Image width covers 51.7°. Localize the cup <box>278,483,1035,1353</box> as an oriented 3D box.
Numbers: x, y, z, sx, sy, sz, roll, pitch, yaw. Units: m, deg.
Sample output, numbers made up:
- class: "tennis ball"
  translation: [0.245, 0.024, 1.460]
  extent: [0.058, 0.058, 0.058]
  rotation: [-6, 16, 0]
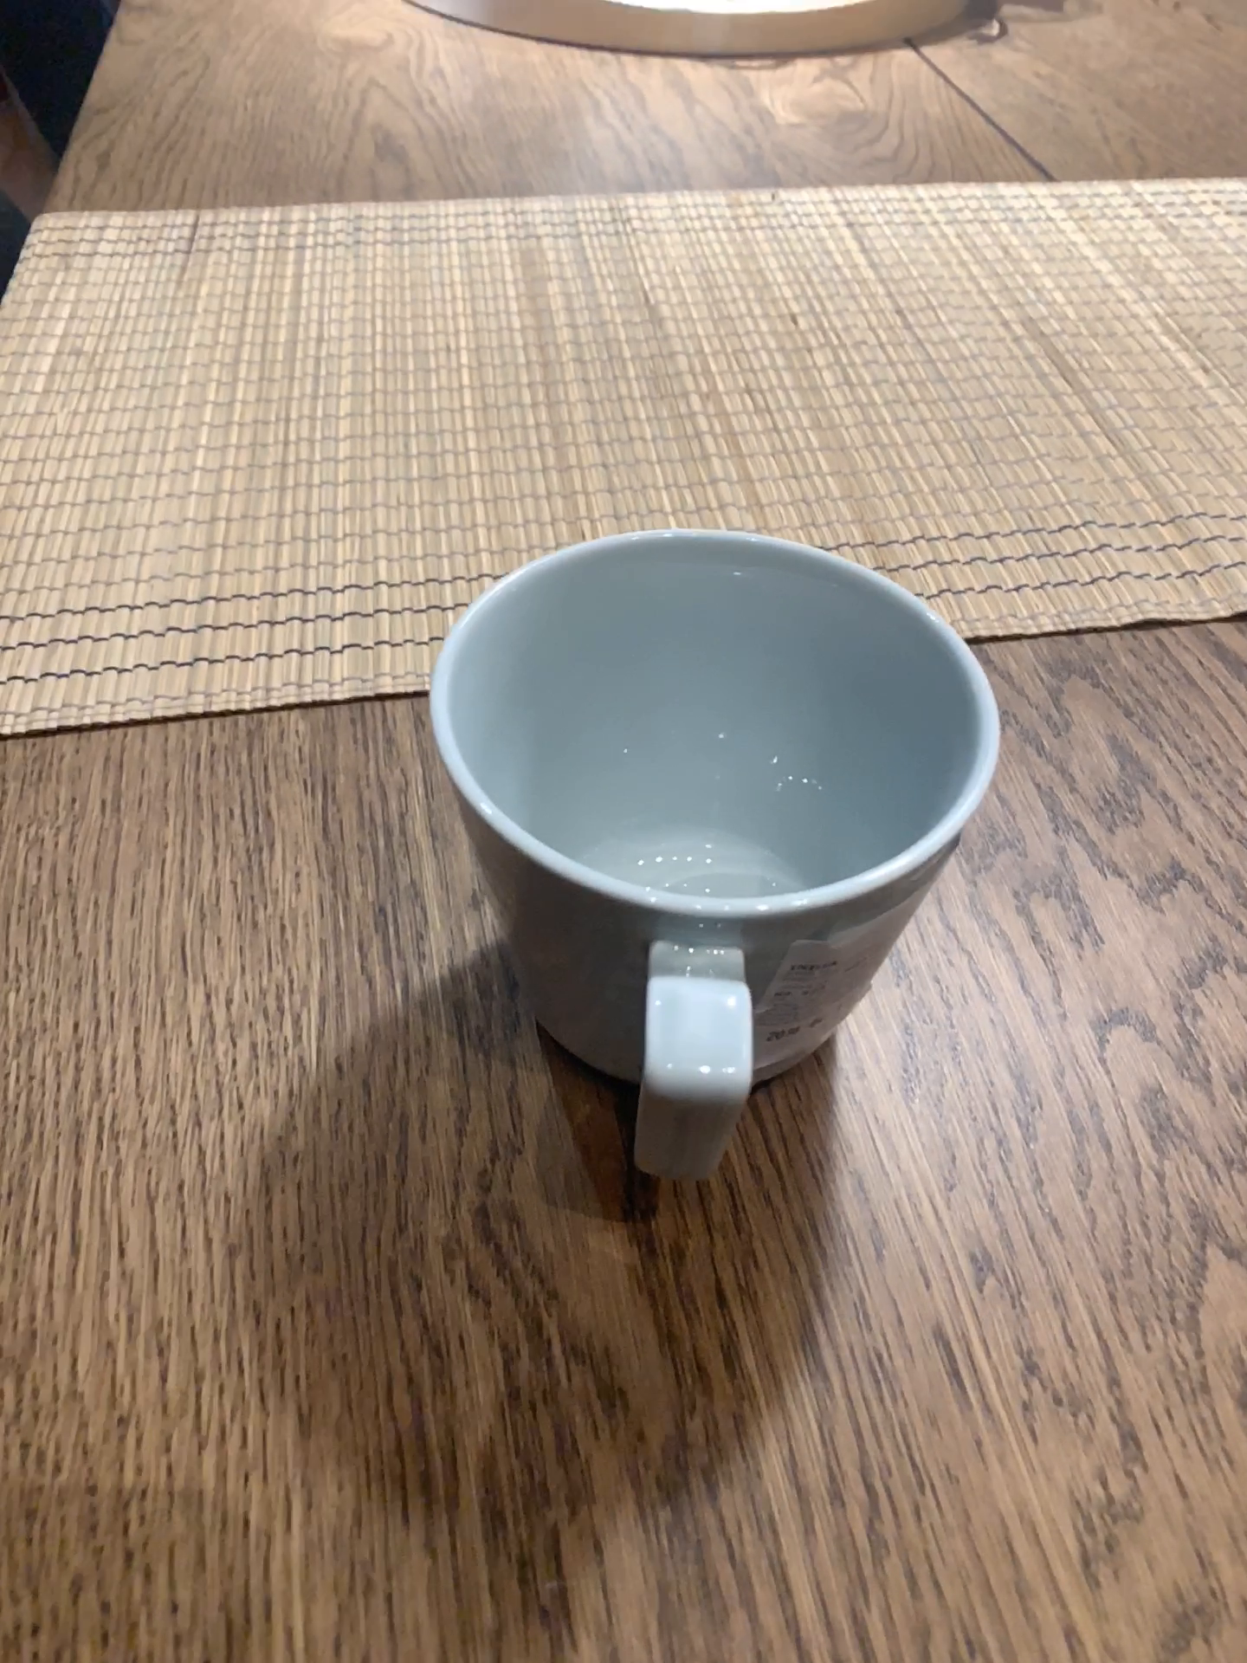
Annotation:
- class: "cup"
  translation: [0.010, 0.012, 0.271]
  extent: [0.110, 0.100, 0.140]
  rotation: [6, 46, 3]
